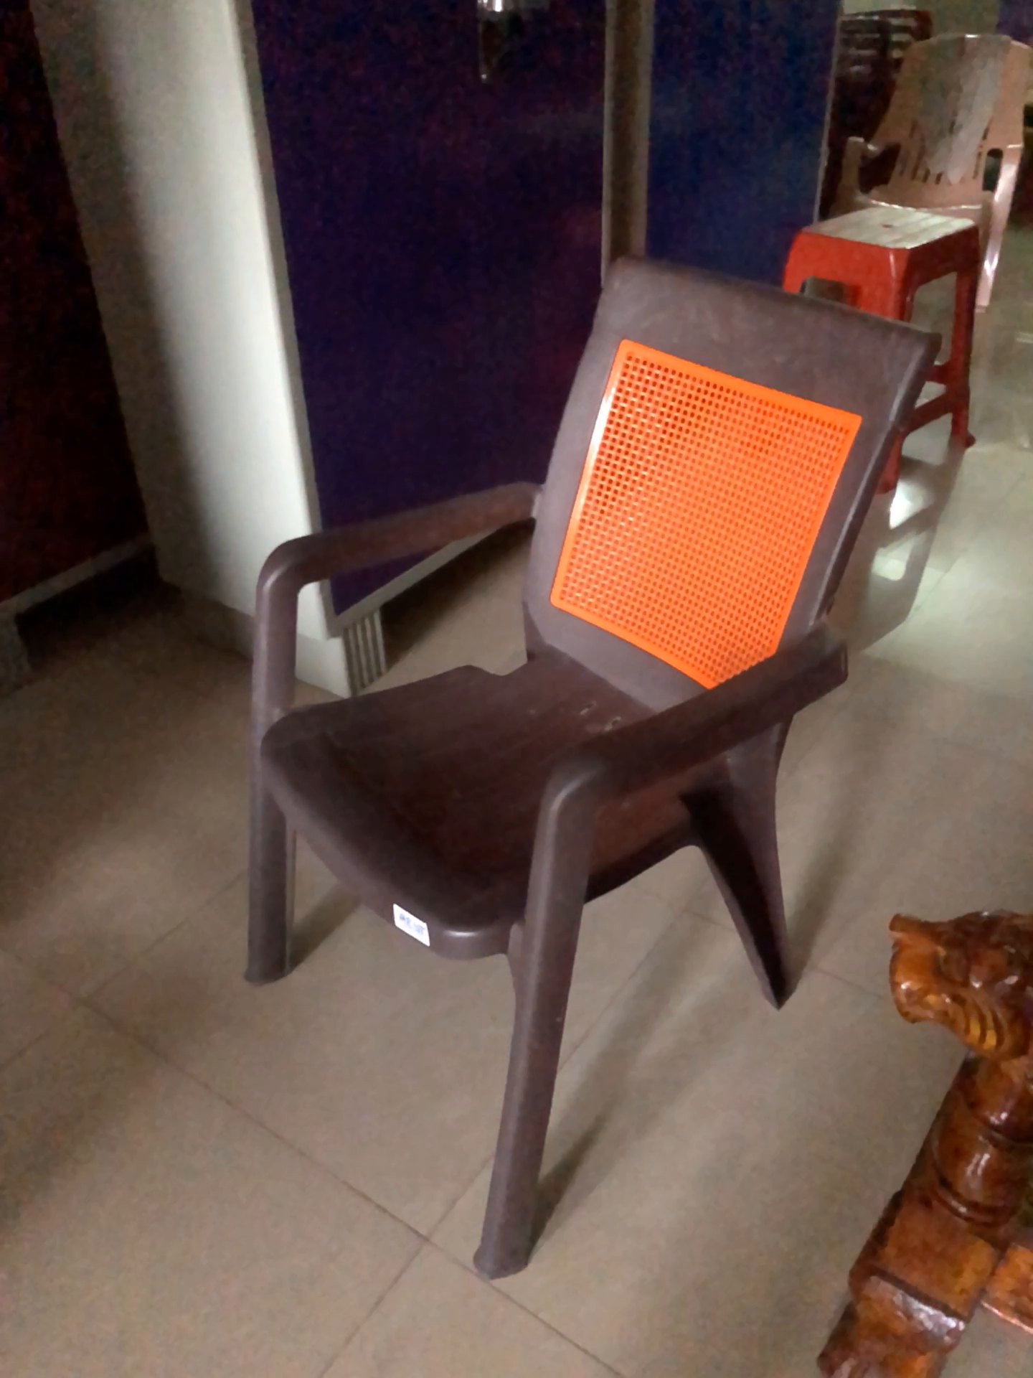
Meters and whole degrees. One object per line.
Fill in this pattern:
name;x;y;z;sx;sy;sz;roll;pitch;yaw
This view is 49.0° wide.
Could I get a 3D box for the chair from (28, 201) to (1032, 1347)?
chair;0.026;0.025;1.352;0.713;0.935;0.711;-26;41;-31
